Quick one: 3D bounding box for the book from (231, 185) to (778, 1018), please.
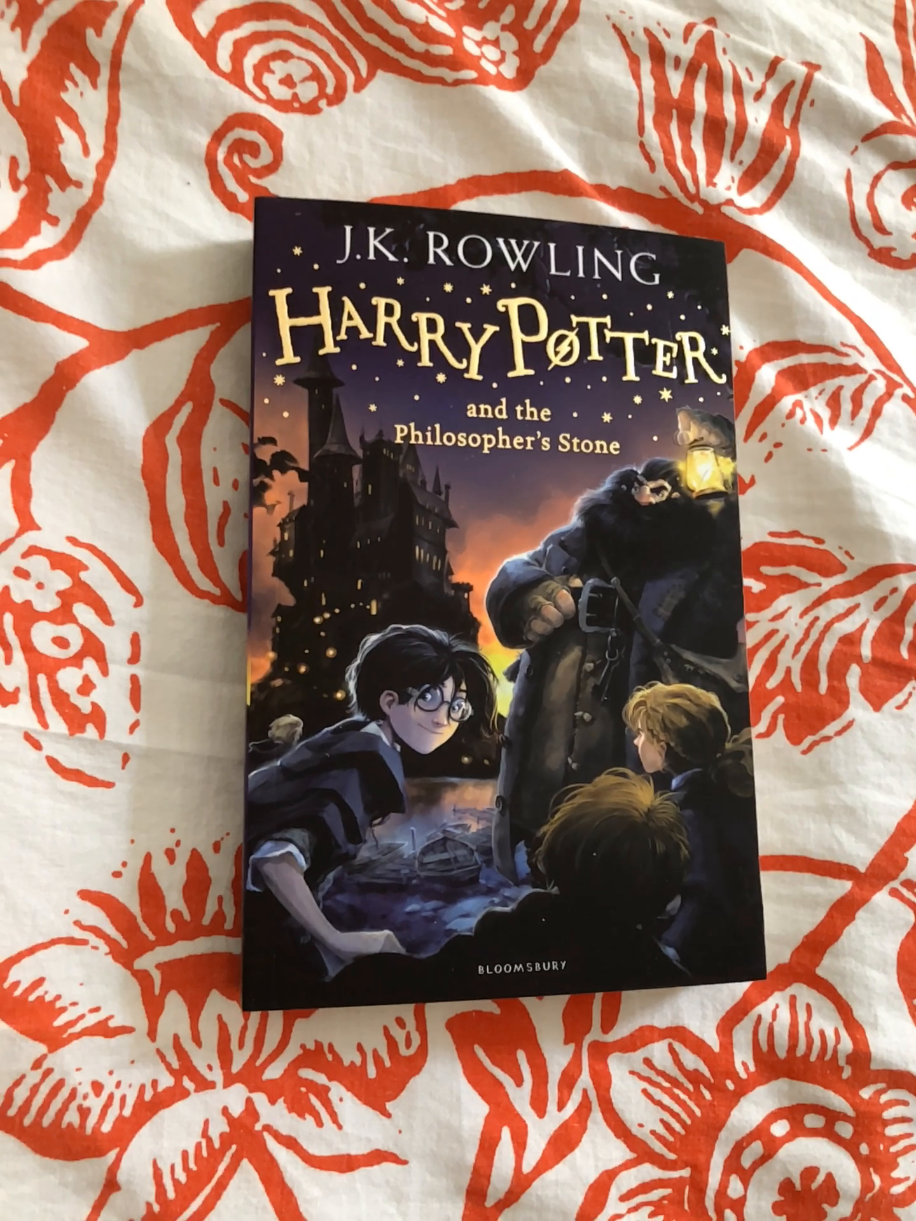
[{"bbox_3d":[0.013,-0.004,0.252,0.127,0.020,0.189,2,82,-12],"label":"book"}]
